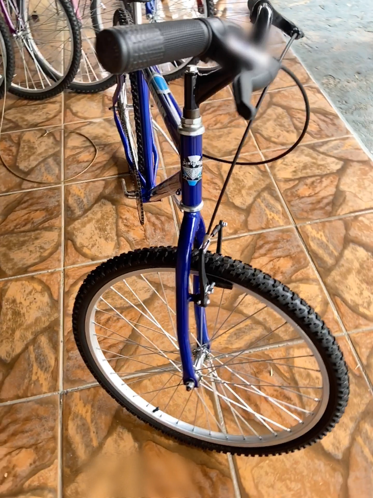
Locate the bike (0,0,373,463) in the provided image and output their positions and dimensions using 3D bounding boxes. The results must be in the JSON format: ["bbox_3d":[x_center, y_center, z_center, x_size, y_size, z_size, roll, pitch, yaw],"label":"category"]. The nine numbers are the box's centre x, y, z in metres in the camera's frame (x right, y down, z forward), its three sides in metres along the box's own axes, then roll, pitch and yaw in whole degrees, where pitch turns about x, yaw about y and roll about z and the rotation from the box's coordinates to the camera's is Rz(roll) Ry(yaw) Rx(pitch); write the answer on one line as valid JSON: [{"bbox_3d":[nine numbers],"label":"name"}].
[{"bbox_3d":[0.076,-0.335,1.107,0.572,1.014,1.530,-22,57,-10],"label":"bike"}]
